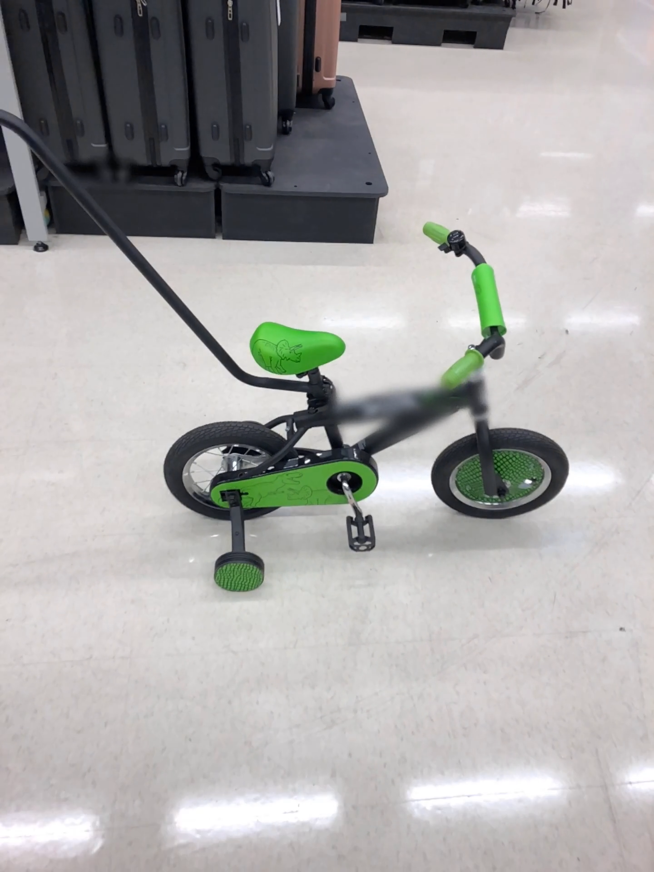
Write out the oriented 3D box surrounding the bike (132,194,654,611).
[{"bbox_3d":[0.117,-0.058,1.396,0.846,0.599,0.494,-1,44,-2],"label":"bike"}]
